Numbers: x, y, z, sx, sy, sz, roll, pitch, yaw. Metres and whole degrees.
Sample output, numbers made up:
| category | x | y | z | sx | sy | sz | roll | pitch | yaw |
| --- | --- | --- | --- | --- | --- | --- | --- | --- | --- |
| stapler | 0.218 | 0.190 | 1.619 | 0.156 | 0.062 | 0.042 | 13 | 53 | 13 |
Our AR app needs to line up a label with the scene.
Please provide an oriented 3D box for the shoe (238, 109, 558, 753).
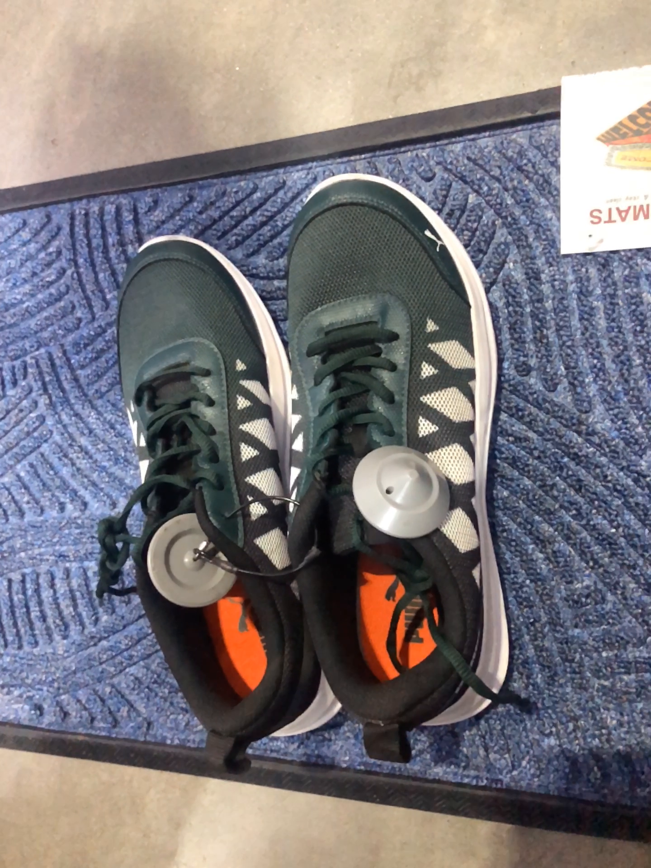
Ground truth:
| category | x | y | z | sx | sy | sz | roll | pitch | yaw |
| --- | --- | --- | --- | --- | --- | --- | --- | --- | --- |
| shoe | 0.036 | 0.002 | 0.370 | 0.120 | 0.060 | 0.290 | -8 | 85 | 20 |

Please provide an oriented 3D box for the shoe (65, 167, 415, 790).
| category | x | y | z | sx | sy | sz | roll | pitch | yaw |
| --- | --- | --- | --- | --- | --- | --- | --- | --- | --- |
| shoe | -0.051 | 0.023 | 0.409 | 0.110 | 0.060 | 0.310 | -18 | 81 | 19 |
